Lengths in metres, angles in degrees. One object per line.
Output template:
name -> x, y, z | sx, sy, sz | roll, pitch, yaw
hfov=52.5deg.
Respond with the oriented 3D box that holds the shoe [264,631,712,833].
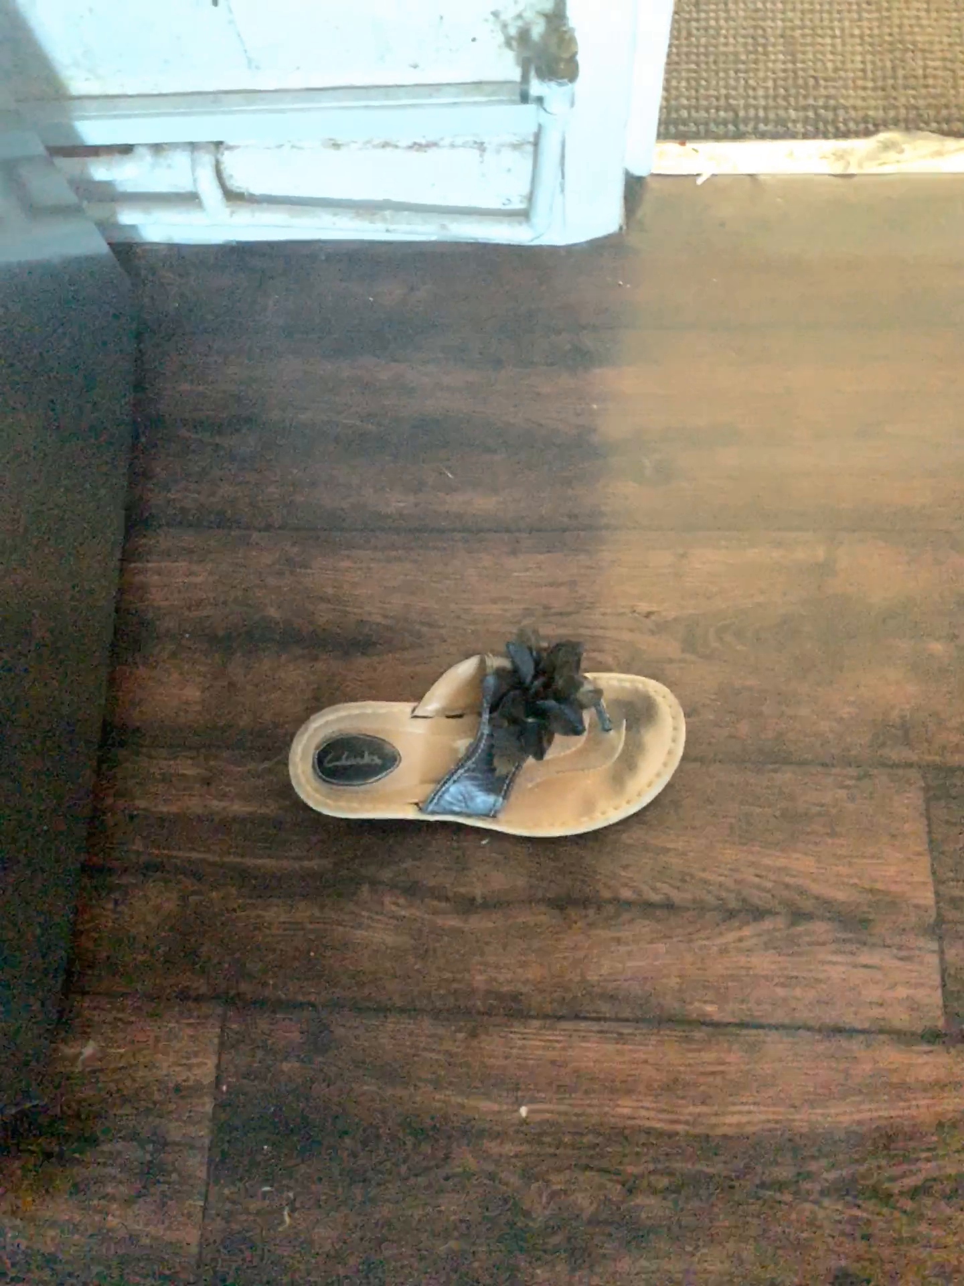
shoe -> 0.004, 0.053, 0.585 | 0.250, 0.050, 0.110 | 0, 74, 4
